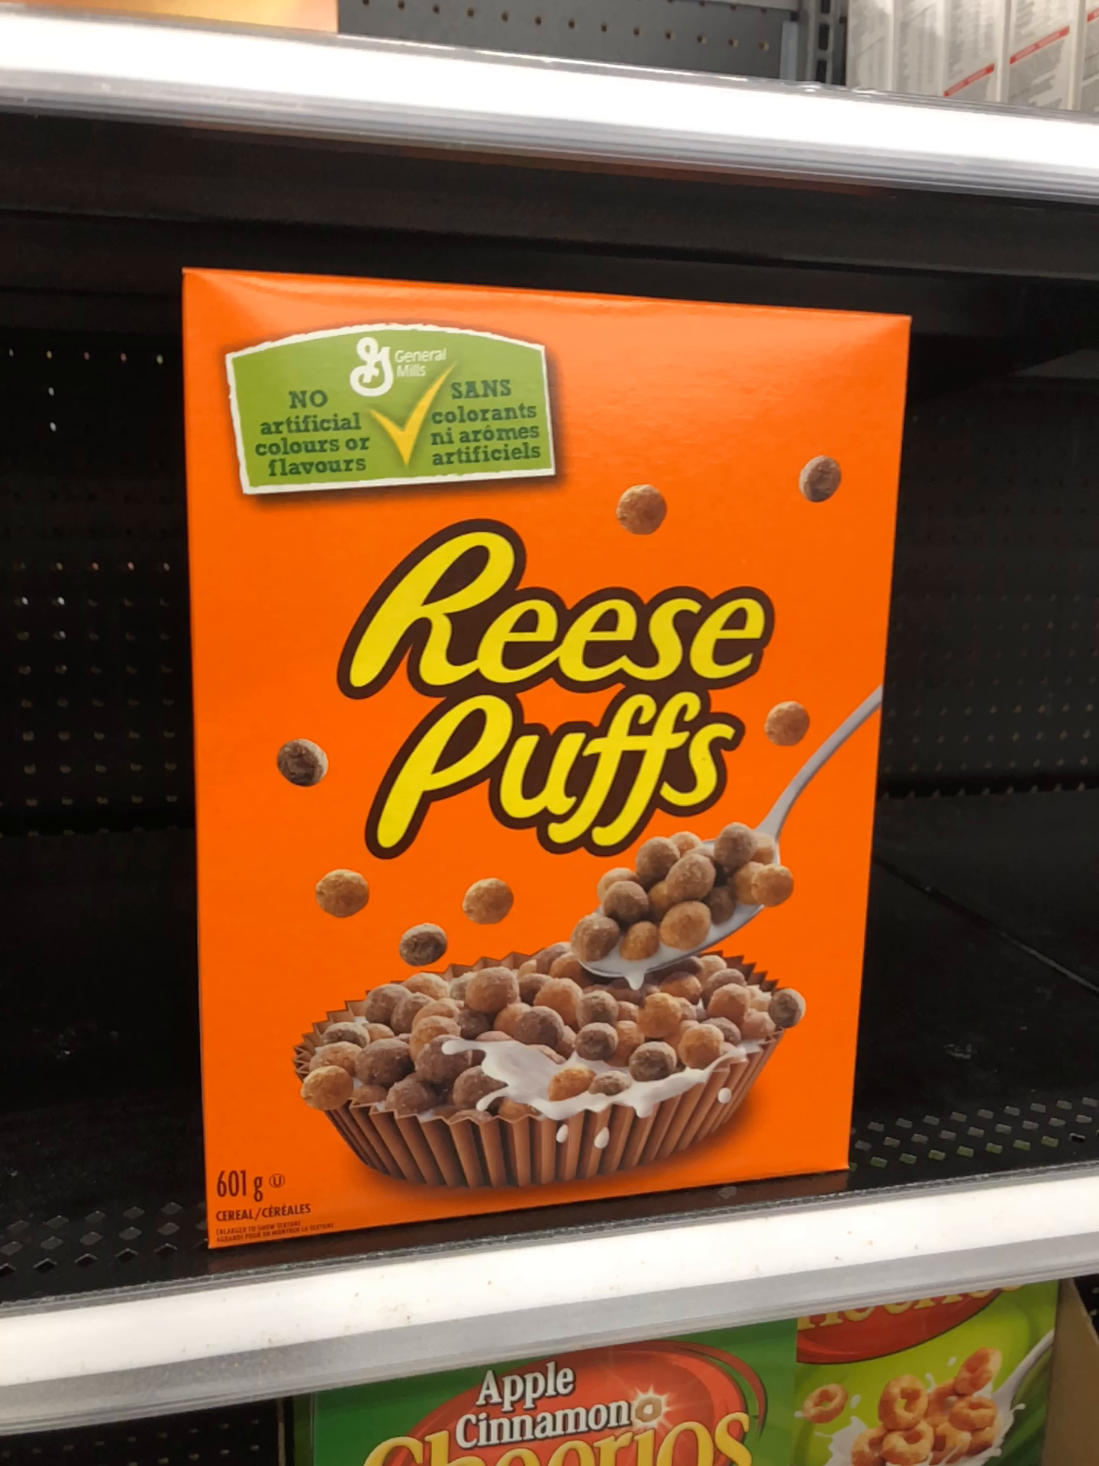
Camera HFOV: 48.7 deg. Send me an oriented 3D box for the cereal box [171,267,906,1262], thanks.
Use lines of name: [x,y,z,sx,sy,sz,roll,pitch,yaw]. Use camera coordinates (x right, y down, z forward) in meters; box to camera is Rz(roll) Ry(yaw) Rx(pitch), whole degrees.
cereal box: [-0.006,0.011,0.446,0.240,0.319,0.070,-2,11,-15]
